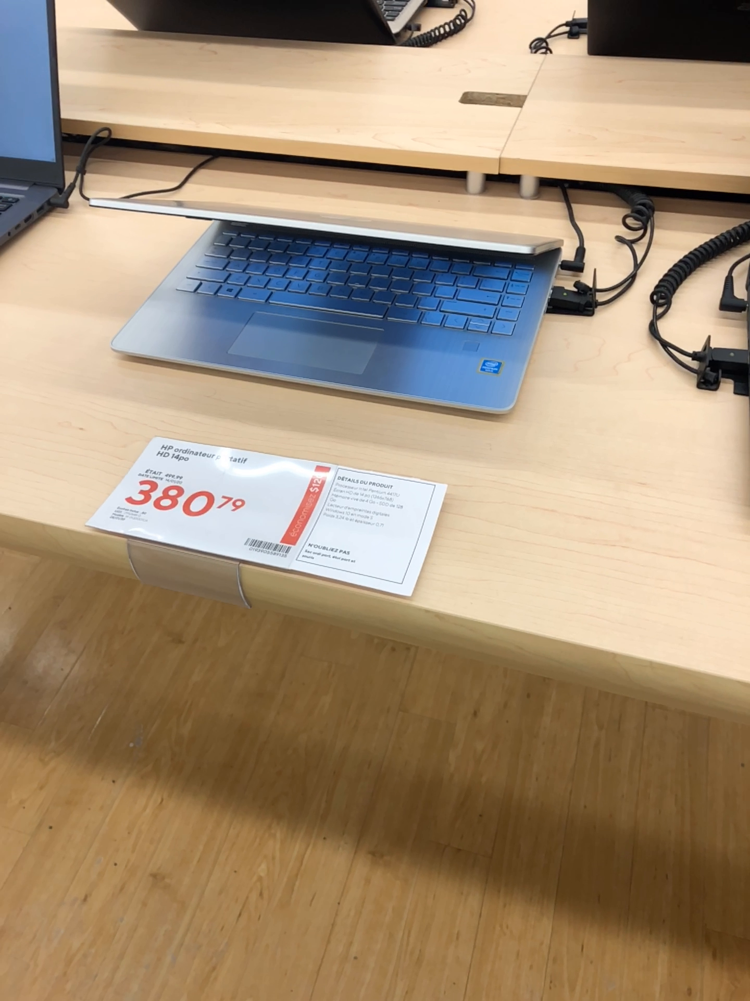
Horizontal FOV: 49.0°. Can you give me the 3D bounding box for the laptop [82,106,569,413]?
[{"bbox_3d":[-0.029,-0.201,0.626,0.319,0.104,0.217,11,47,20],"label":"laptop"}]
